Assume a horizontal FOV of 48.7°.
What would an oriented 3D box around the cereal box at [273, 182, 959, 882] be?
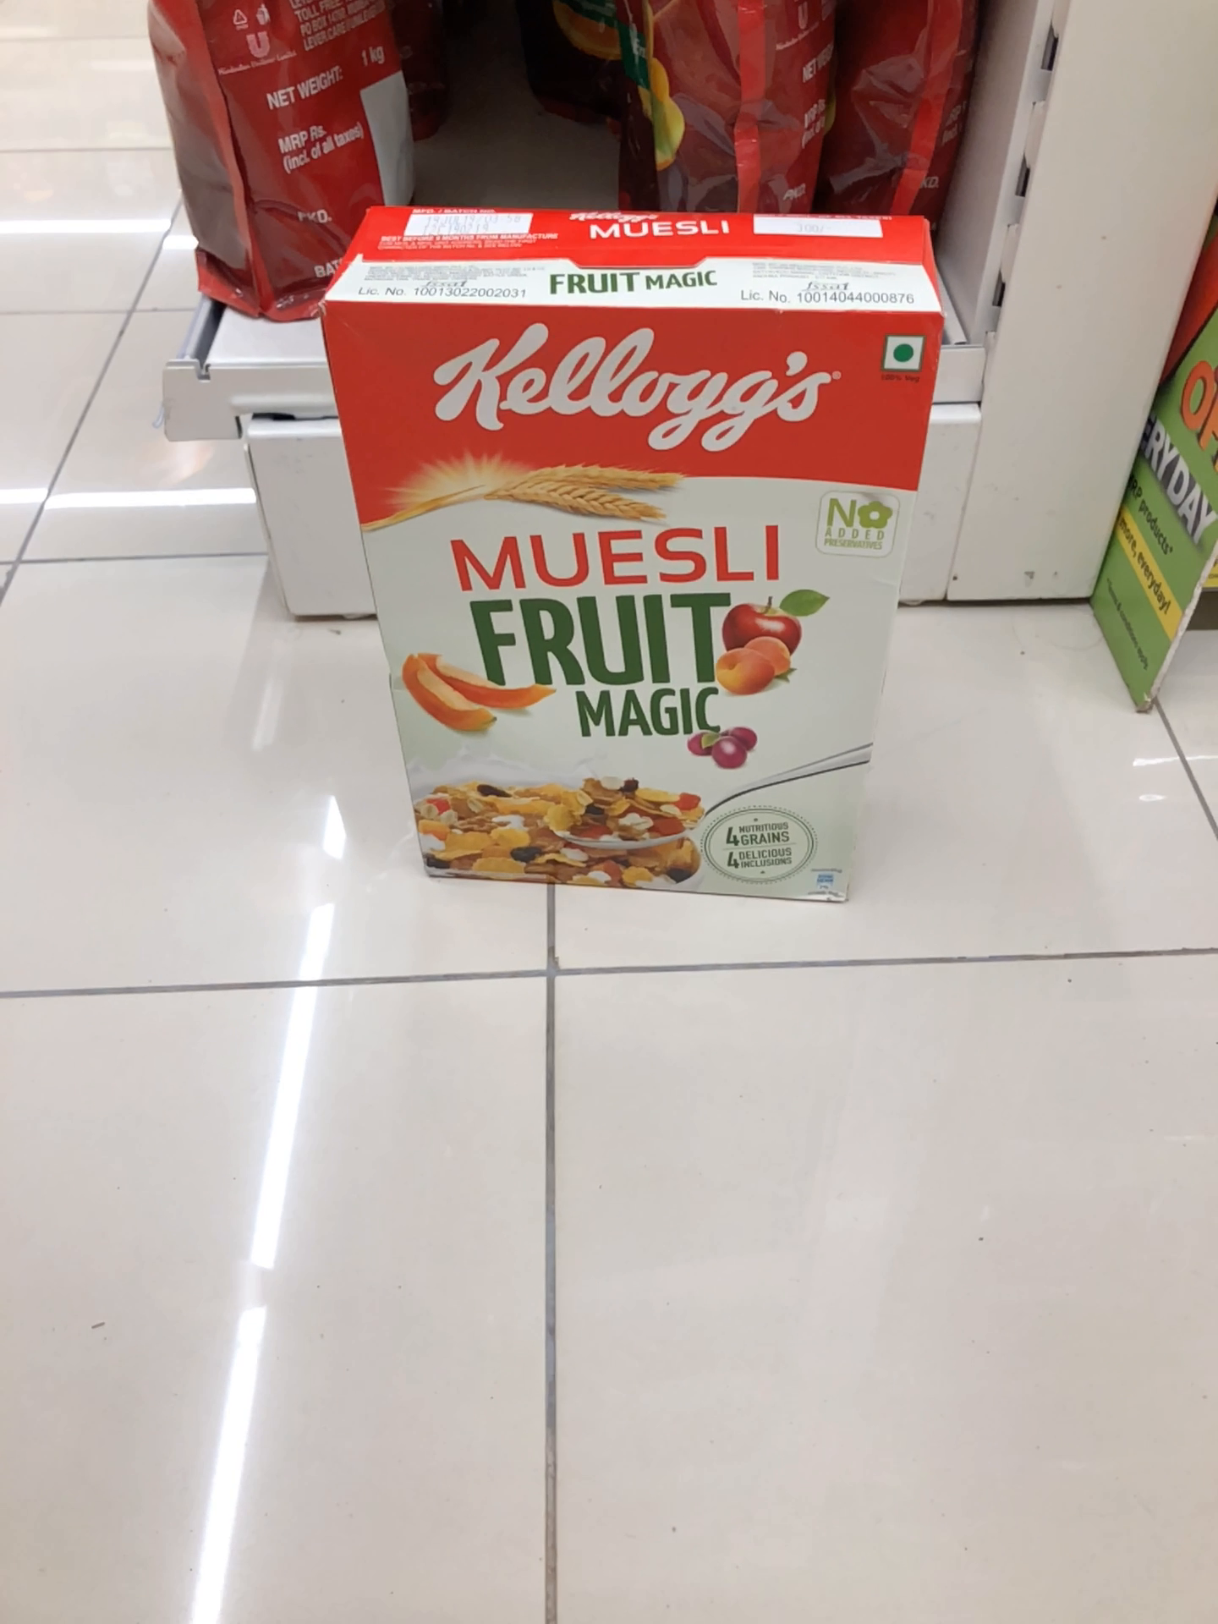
[{"bbox_3d":[0.006,-0.087,0.486,0.190,0.238,0.081,3,47,4],"label":"cereal box"}]
